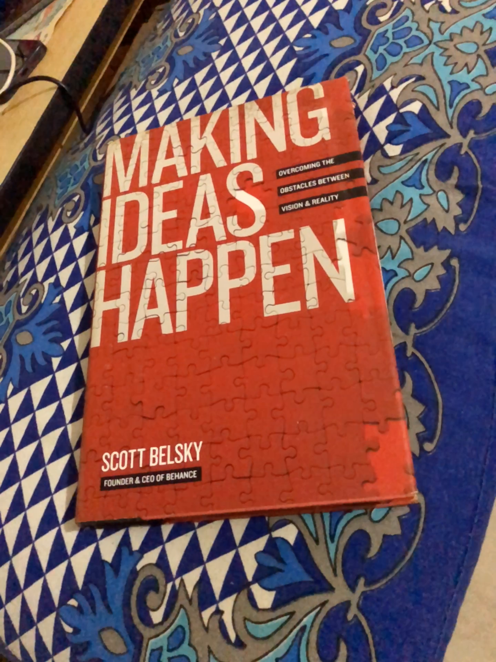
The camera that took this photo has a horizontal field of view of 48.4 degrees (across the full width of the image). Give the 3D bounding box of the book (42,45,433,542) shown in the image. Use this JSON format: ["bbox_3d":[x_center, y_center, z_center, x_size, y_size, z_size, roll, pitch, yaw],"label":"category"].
[{"bbox_3d":[-0.011,-0.031,0.286,0.160,0.030,0.250,-10,61,15],"label":"book"}]
